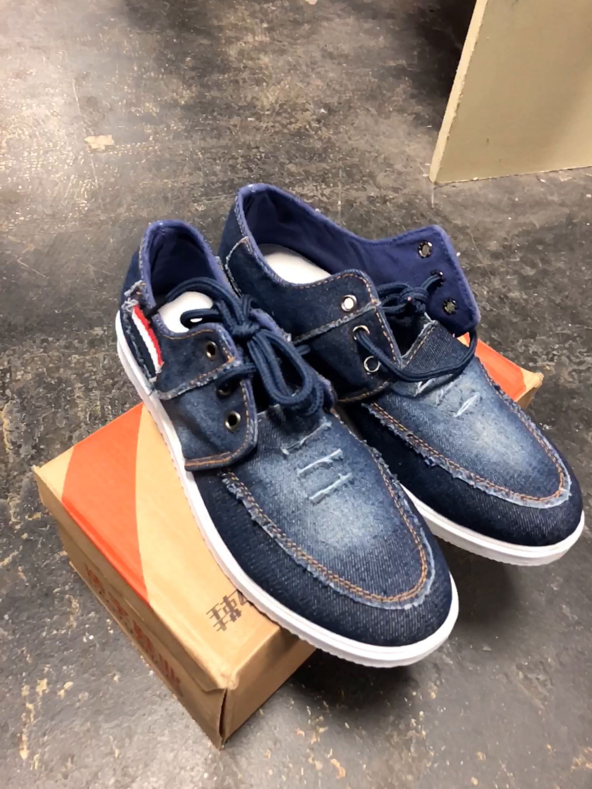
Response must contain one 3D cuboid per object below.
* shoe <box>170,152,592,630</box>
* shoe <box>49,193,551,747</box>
[{"bbox_3d":[0.049,-0.021,0.364,0.100,0.079,0.271,-30,61,-28],"label":"shoe"},{"bbox_3d":[-0.018,0.016,0.312,0.090,0.079,0.251,-25,59,-26],"label":"shoe"}]
